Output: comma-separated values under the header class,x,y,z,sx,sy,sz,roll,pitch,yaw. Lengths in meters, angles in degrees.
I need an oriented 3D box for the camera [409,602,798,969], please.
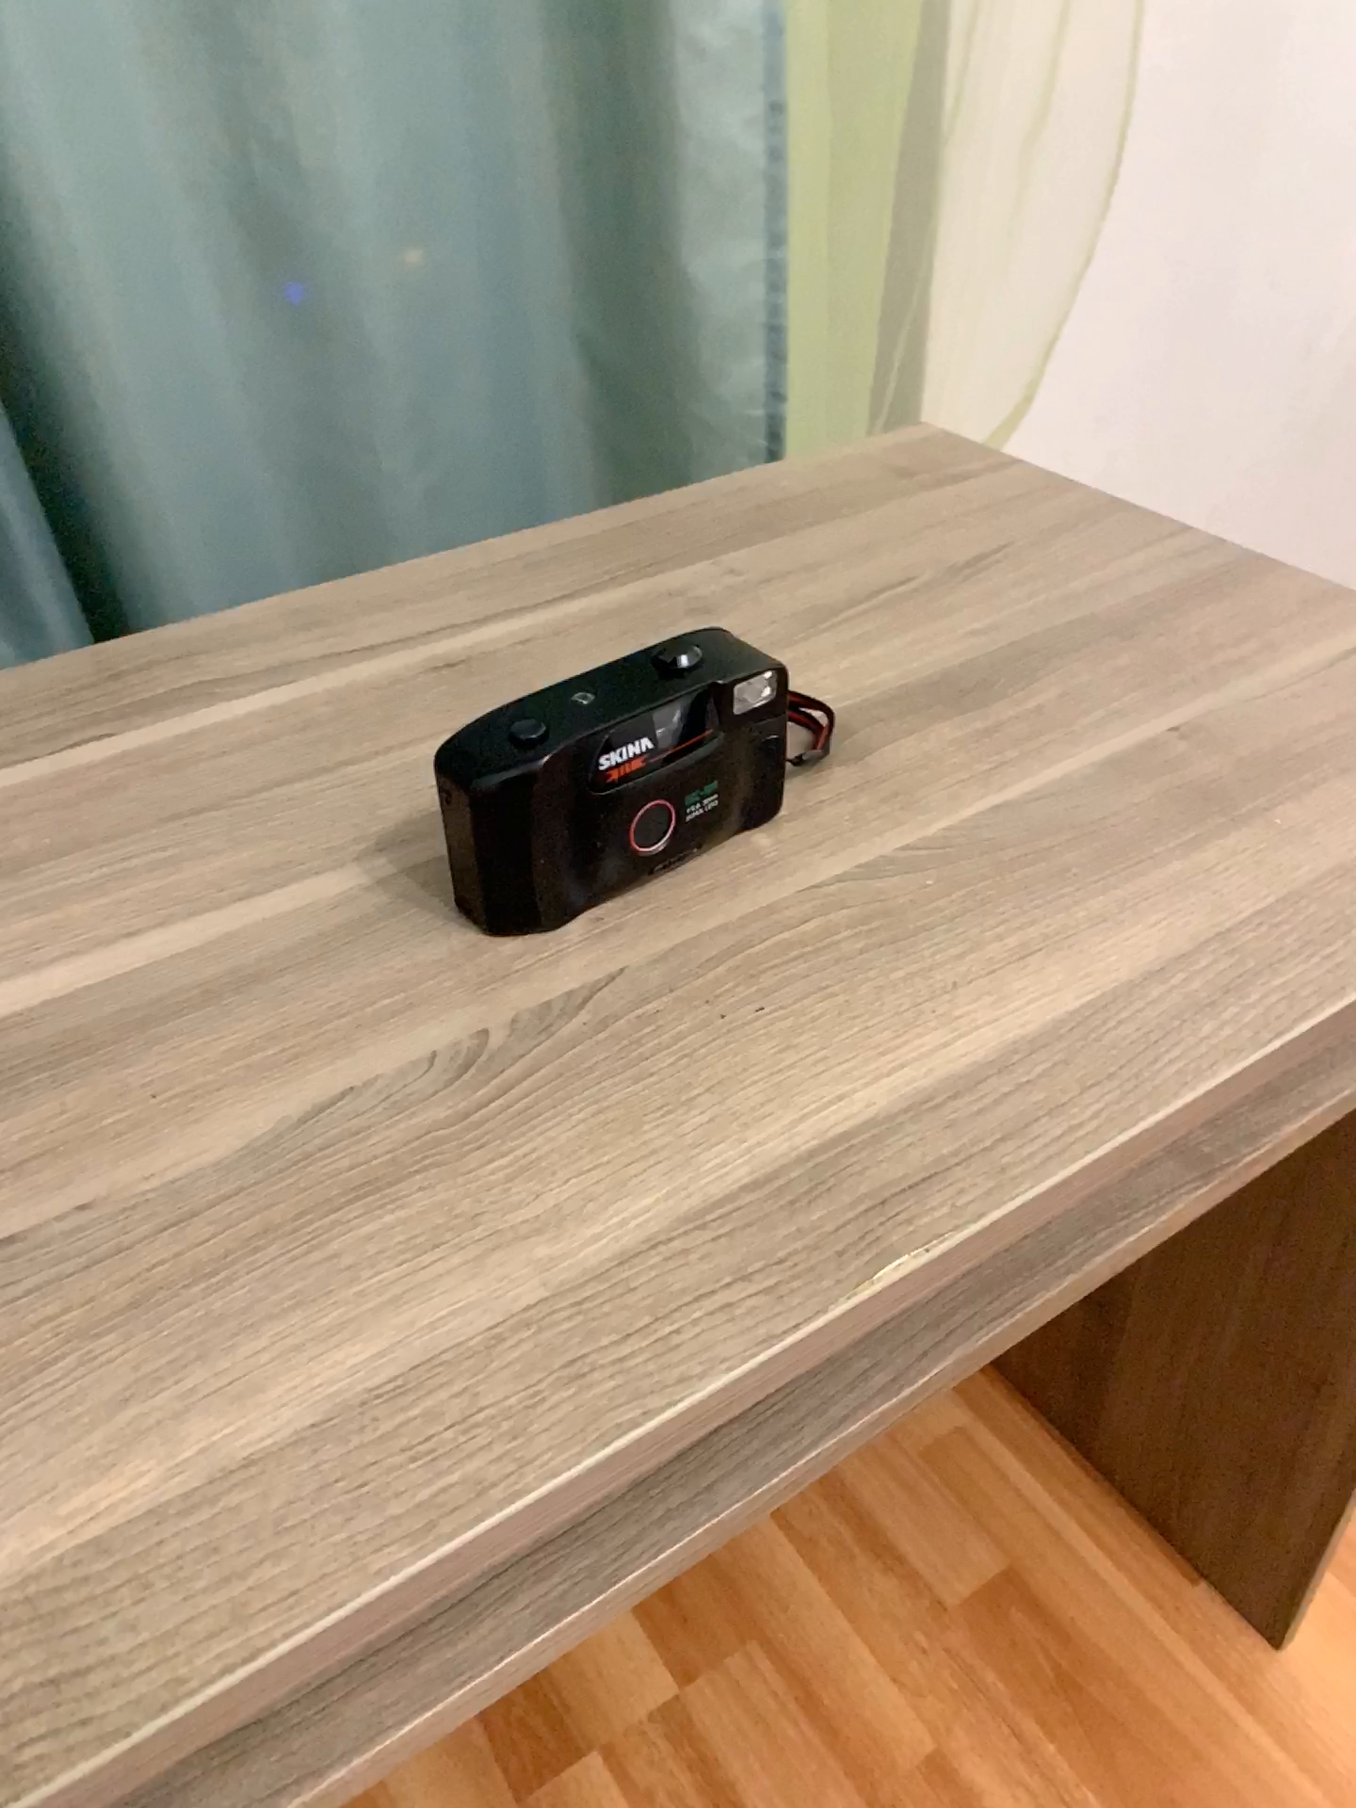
class,x,y,z,sx,sy,sz,roll,pitch,yaw
camera,-0.020,-0.042,0.454,0.120,0.069,0.045,-28,43,-33
